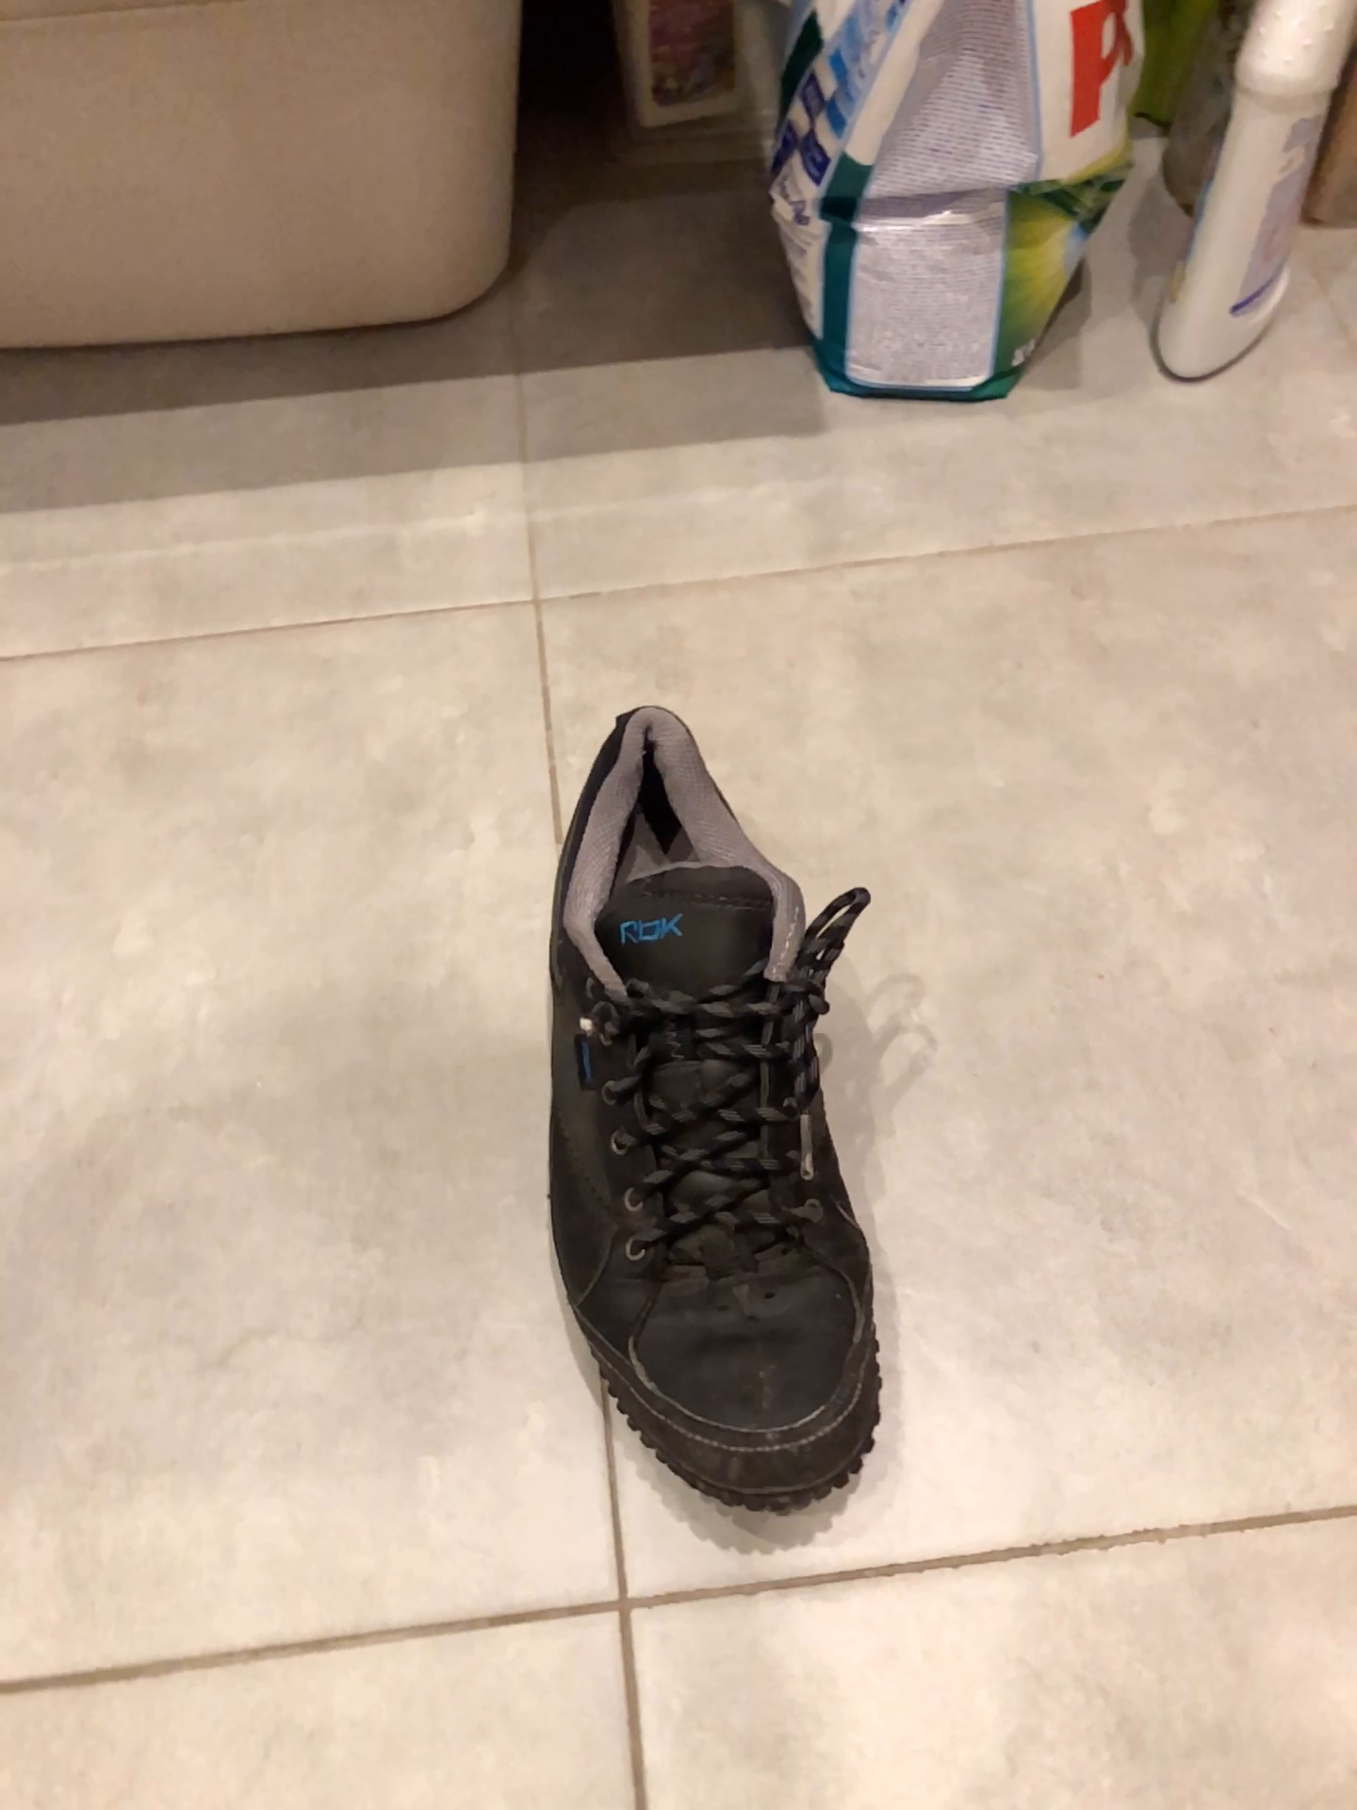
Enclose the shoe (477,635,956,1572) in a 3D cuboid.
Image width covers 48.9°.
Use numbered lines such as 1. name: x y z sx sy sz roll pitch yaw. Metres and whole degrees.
1. shoe: 0.003 0.057 0.488 0.100 0.109 0.271 -9 59 -2
